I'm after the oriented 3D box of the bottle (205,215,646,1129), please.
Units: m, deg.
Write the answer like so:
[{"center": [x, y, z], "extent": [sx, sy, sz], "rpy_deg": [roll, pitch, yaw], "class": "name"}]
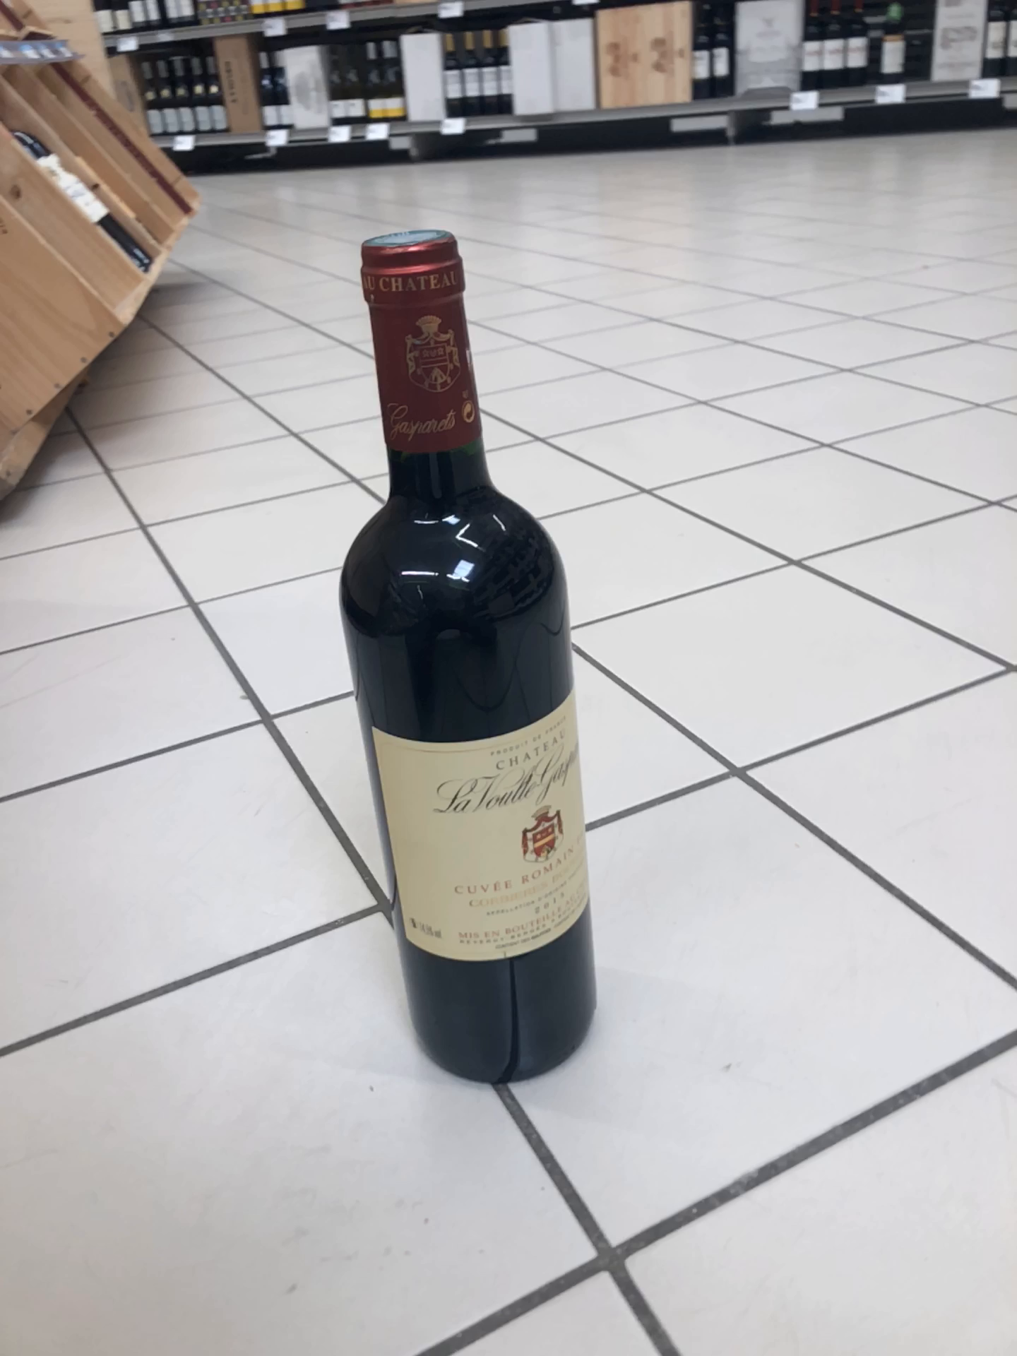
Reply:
[{"center": [-0.017, 0.003, 0.381], "extent": [0.080, 0.288, 0.090], "rpy_deg": [-26, 34, -34], "class": "bottle"}]
